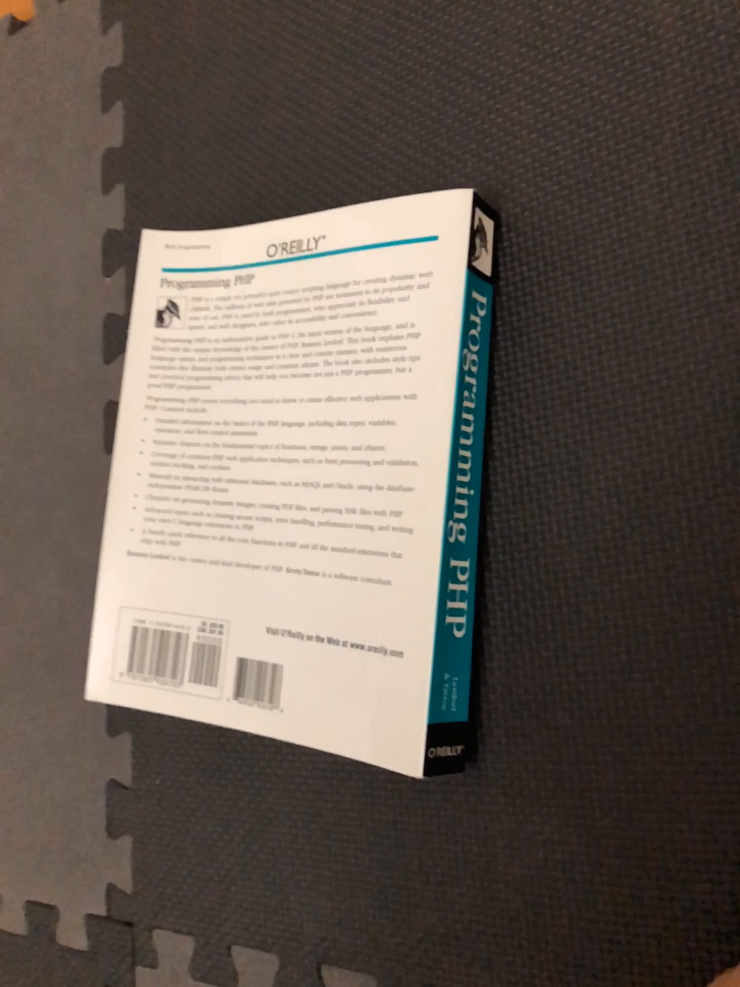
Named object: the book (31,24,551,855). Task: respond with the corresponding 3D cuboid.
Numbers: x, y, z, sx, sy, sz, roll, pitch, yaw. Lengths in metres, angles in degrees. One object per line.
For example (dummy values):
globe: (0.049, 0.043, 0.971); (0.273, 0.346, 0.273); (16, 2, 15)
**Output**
book: (-0.047, -0.026, 0.365); (0.231, 0.040, 0.290); (3, 86, 33)
